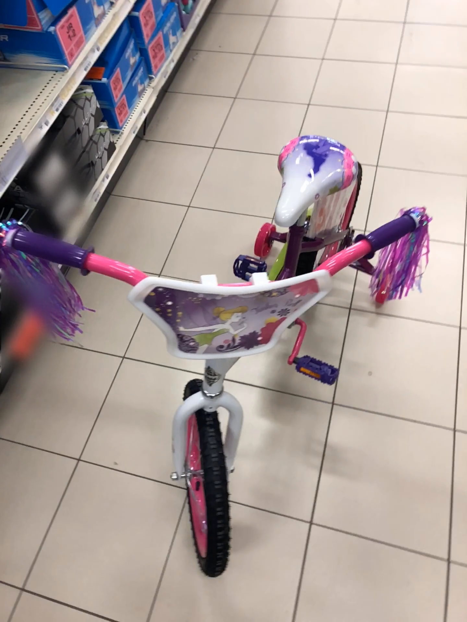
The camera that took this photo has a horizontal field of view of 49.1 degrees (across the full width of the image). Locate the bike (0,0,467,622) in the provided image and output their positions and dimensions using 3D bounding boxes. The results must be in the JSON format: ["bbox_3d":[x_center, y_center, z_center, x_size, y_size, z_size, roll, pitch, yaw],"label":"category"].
[{"bbox_3d":[0.124,-0.057,1.032,0.595,0.810,1.070,16,61,15],"label":"bike"}]
